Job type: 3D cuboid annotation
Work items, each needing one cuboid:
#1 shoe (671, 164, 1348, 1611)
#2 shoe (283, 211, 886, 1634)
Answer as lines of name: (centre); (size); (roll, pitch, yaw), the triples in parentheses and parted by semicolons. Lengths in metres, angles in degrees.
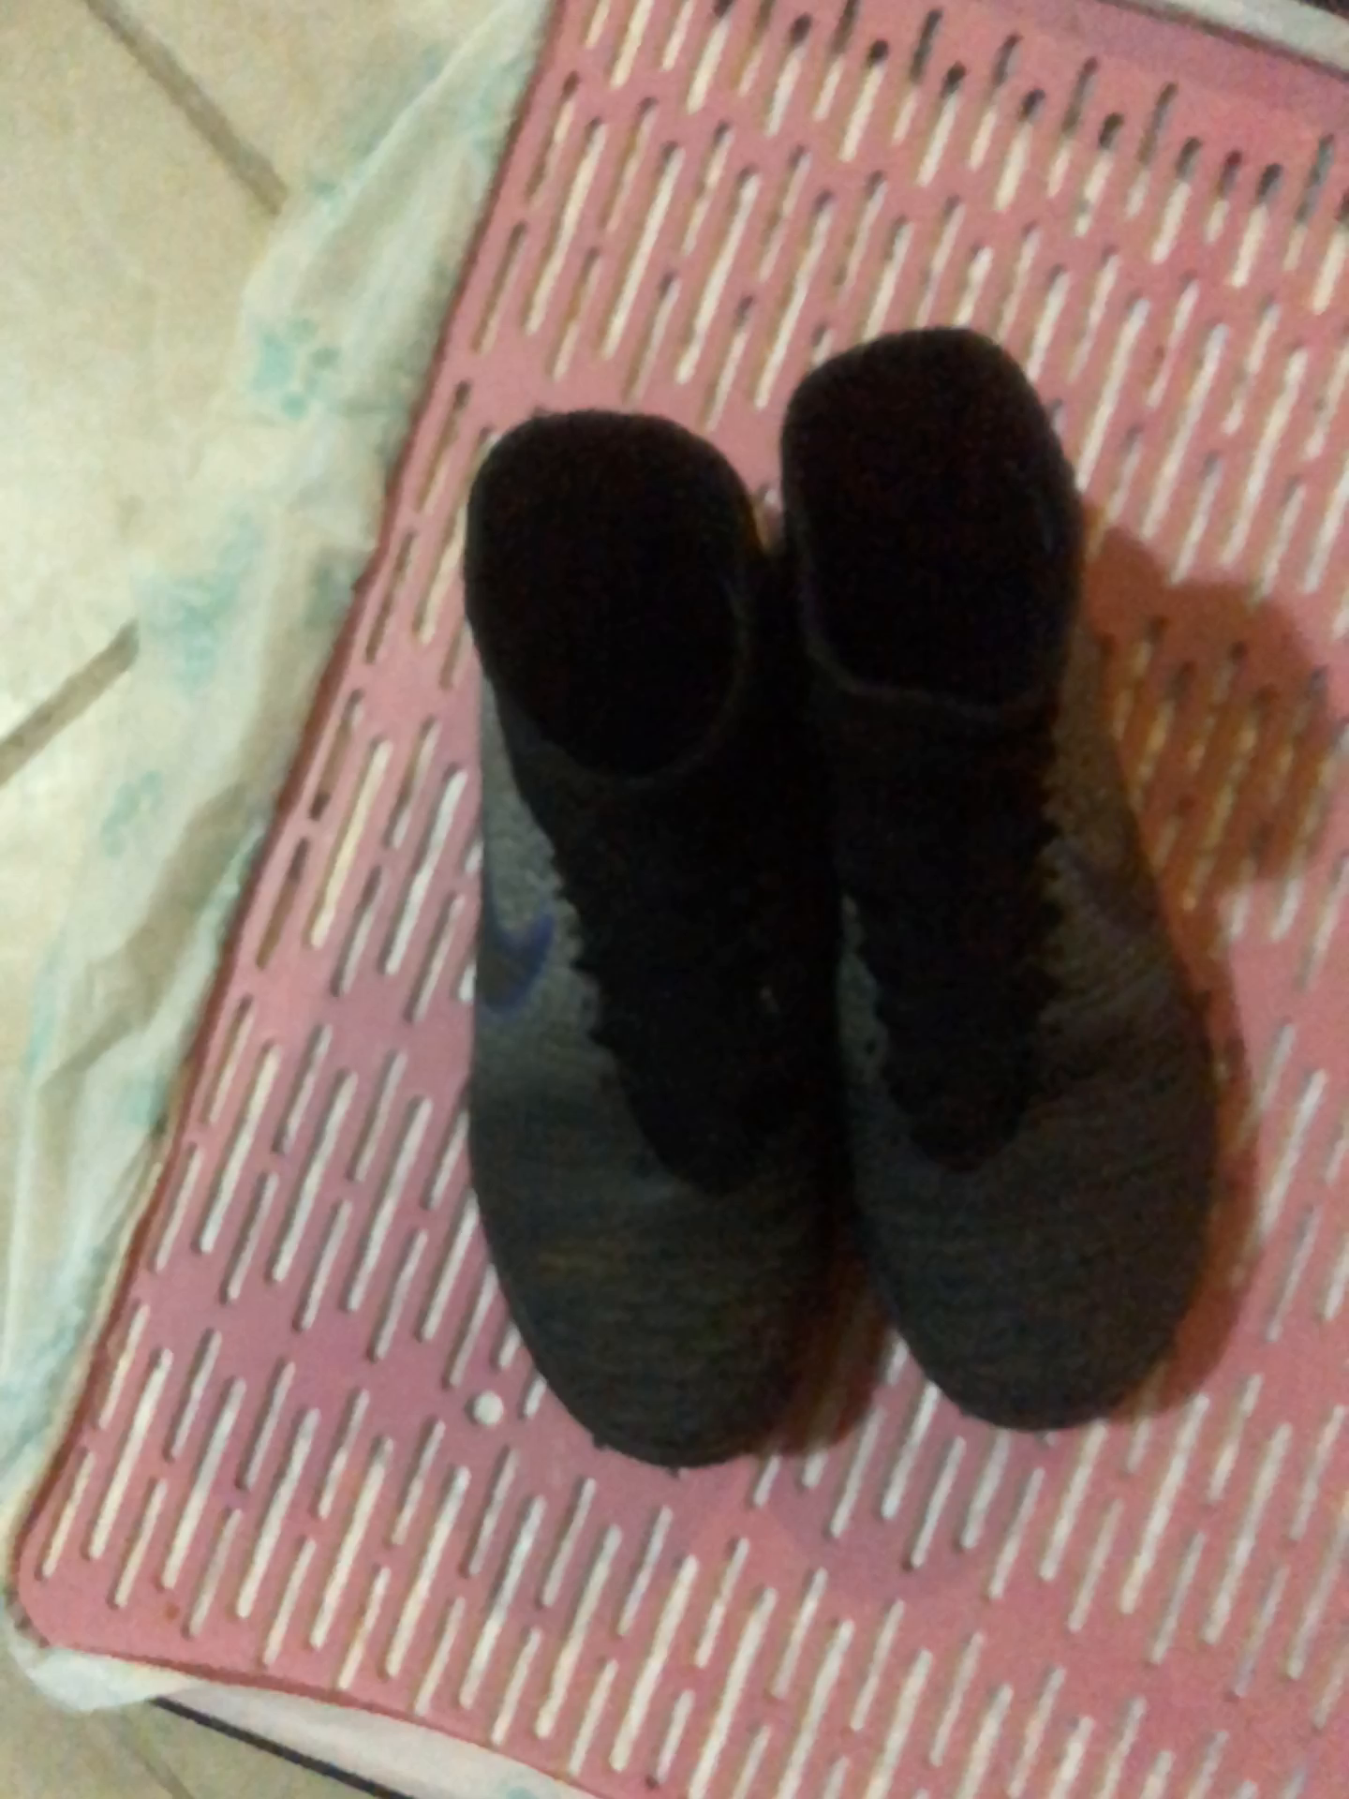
shoe: (0.078, -0.001, 0.362); (0.100, 0.150, 0.260); (-11, 87, 4)
shoe: (-0.014, 0.006, 0.369); (0.100, 0.150, 0.270); (-4, 88, 4)
